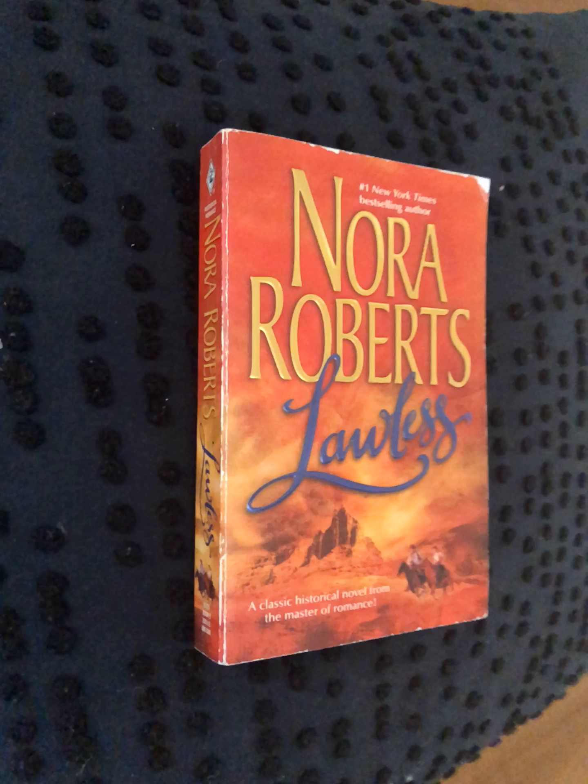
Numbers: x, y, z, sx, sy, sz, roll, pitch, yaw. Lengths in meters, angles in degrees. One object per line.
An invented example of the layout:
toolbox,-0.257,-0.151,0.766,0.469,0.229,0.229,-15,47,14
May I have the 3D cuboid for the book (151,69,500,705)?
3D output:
book,0.014,-0.002,0.234,0.121,0.040,0.180,1,86,-33
